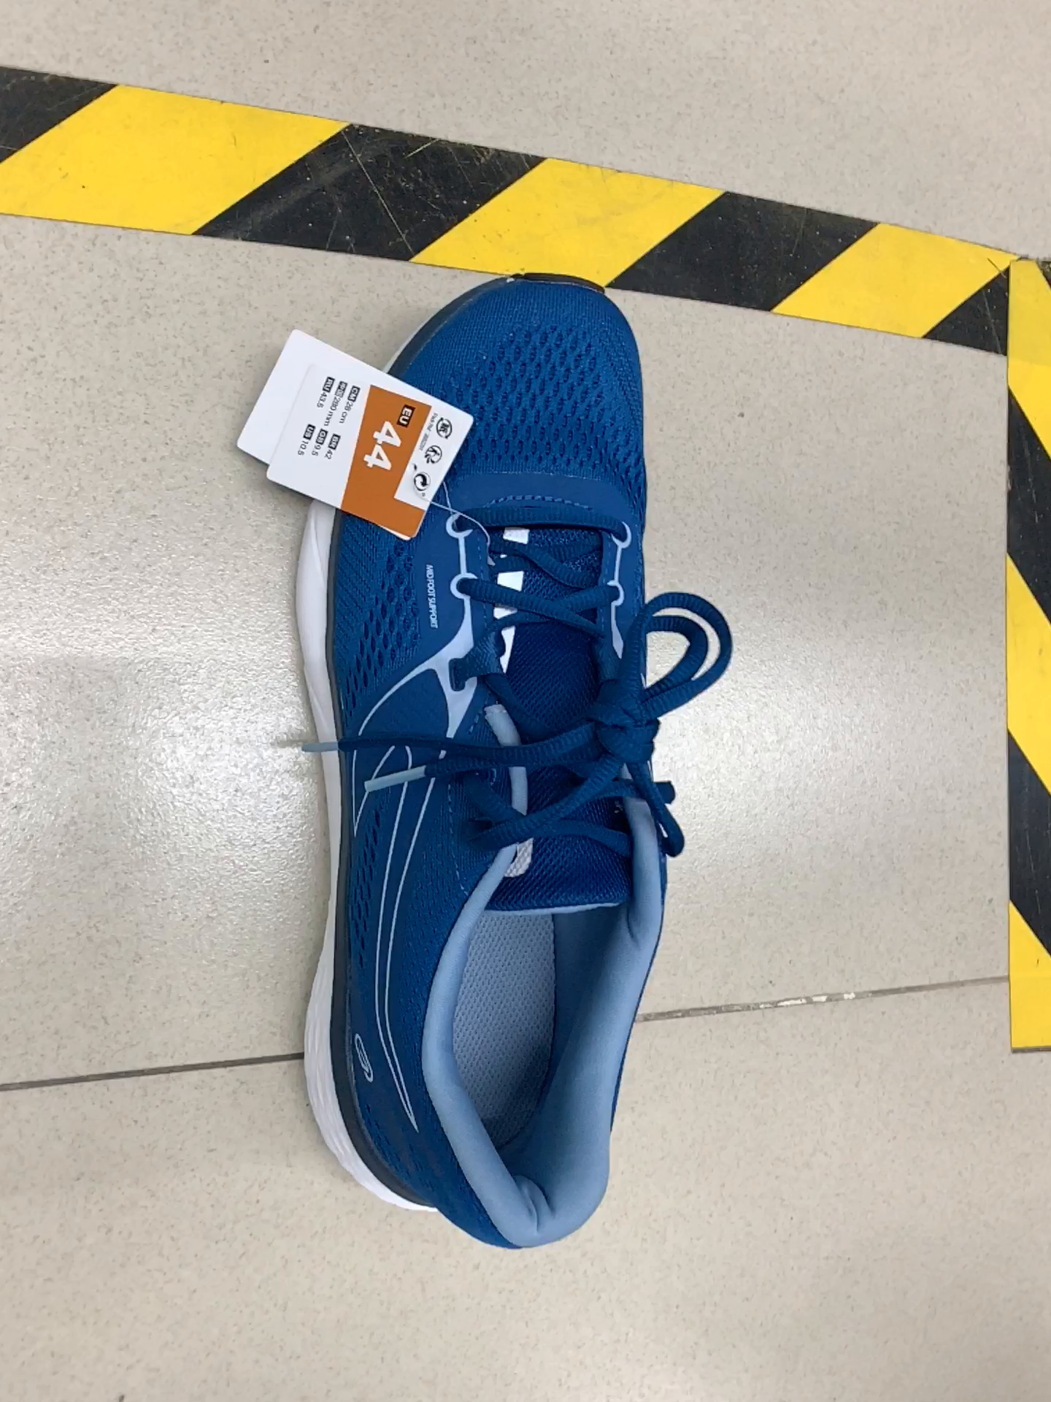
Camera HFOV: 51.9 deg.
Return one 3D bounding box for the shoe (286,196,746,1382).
[{"bbox_3d":[-0.003,0.019,0.317,0.110,0.070,0.290,4,82,-20],"label":"shoe"}]
